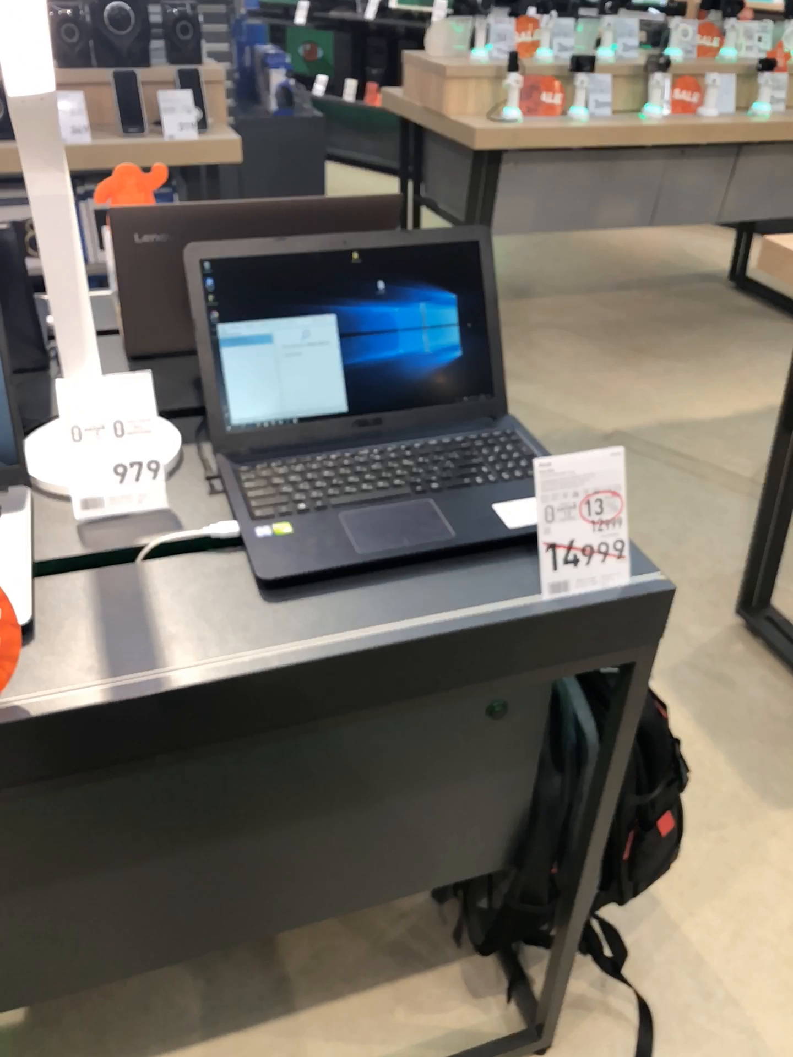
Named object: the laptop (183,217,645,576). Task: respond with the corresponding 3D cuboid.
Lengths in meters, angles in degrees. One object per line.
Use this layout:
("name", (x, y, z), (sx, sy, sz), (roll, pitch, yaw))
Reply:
("laptop", (-0.008, -0.175, 0.985), (0.380, 0.209, 0.371), (-10, 36, -17))
